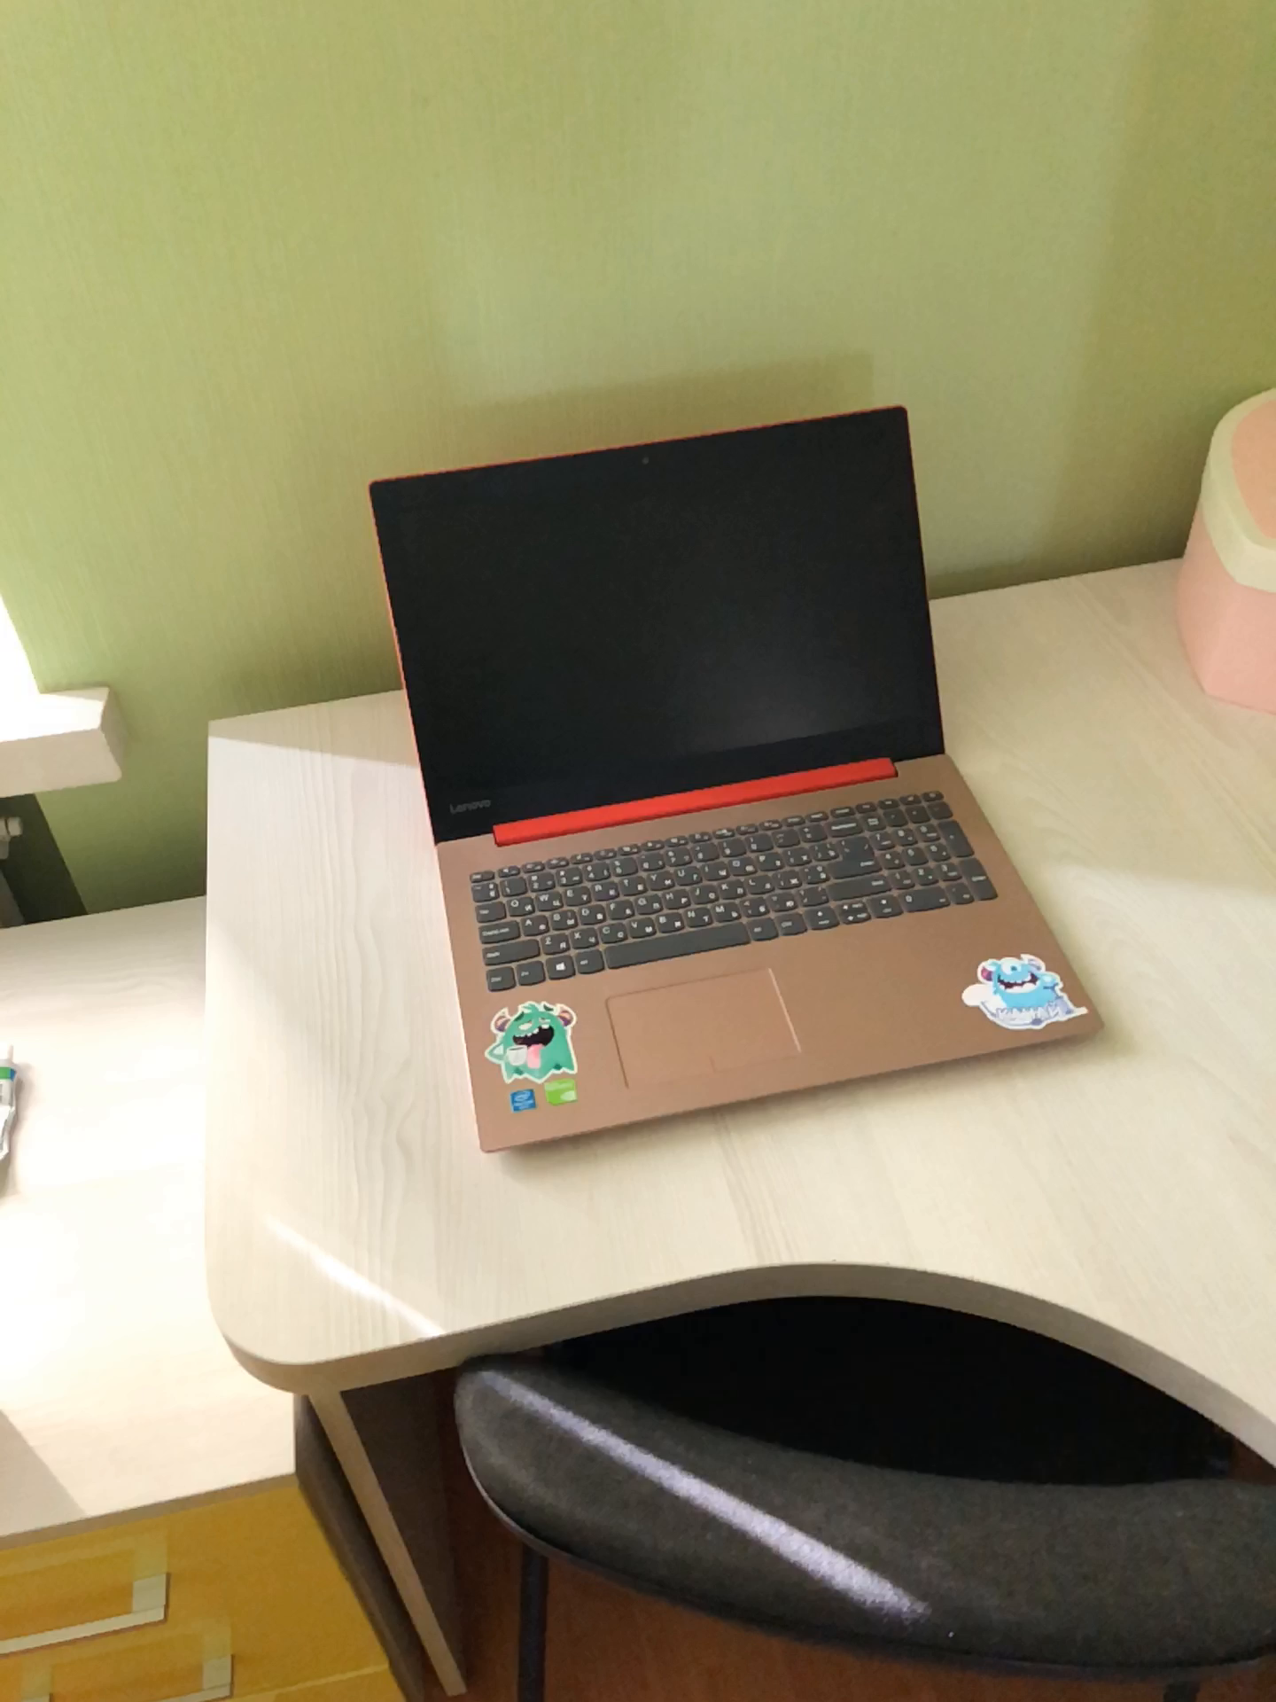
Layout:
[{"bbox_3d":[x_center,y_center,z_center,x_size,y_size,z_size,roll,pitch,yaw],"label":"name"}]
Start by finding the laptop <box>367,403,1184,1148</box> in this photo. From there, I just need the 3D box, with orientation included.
[{"bbox_3d":[0.049,-0.073,0.885,0.375,0.198,0.403,-10,45,-7],"label":"laptop"}]
